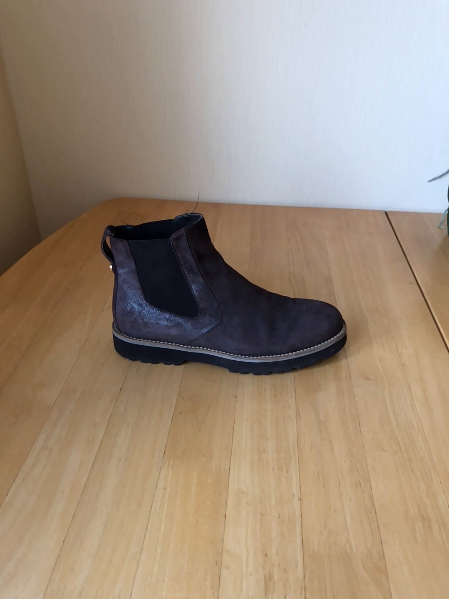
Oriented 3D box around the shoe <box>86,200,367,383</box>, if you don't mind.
[{"bbox_3d":[0.004,-0.012,0.461,0.220,0.119,0.100,4,33,6],"label":"shoe"}]
